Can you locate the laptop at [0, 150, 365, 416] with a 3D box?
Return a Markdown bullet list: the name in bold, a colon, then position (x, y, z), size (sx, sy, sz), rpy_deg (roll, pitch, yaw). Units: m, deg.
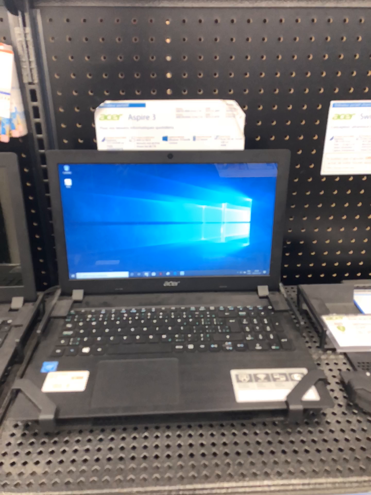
- **laptop**: position (-0.023, 0.021, 0.567), size (0.386, 0.247, 0.296), rpy_deg (-1, 25, -2)
